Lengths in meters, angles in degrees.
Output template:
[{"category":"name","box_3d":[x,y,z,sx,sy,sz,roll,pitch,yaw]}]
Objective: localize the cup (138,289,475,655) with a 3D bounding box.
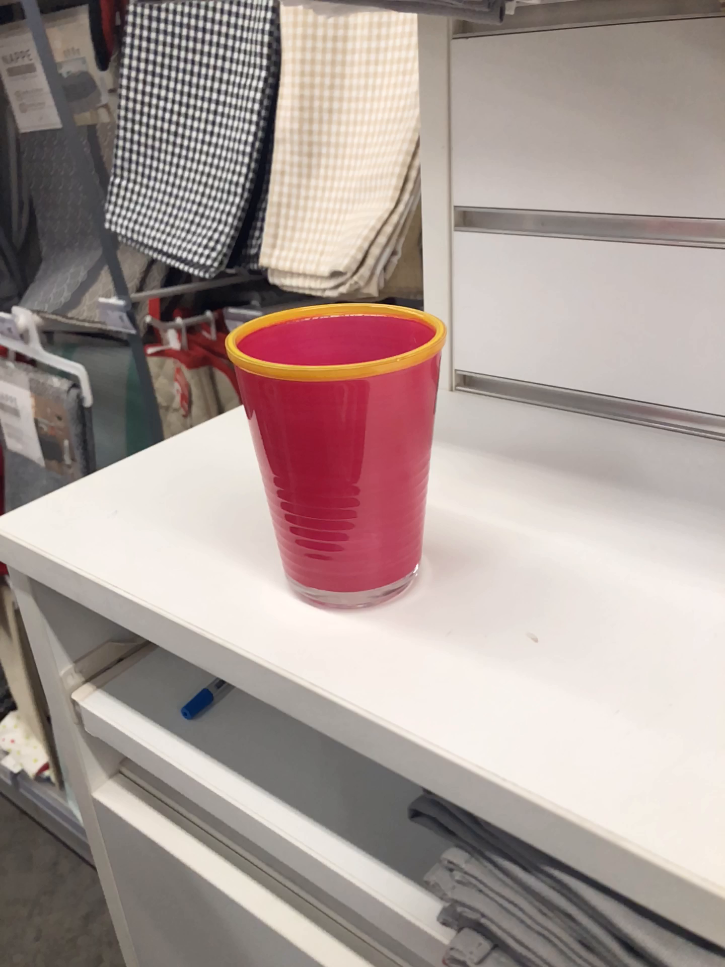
[{"category":"cup","box_3d":[-0.016,-0.011,0.295,0.084,0.094,0.079,-3,27,2]}]
